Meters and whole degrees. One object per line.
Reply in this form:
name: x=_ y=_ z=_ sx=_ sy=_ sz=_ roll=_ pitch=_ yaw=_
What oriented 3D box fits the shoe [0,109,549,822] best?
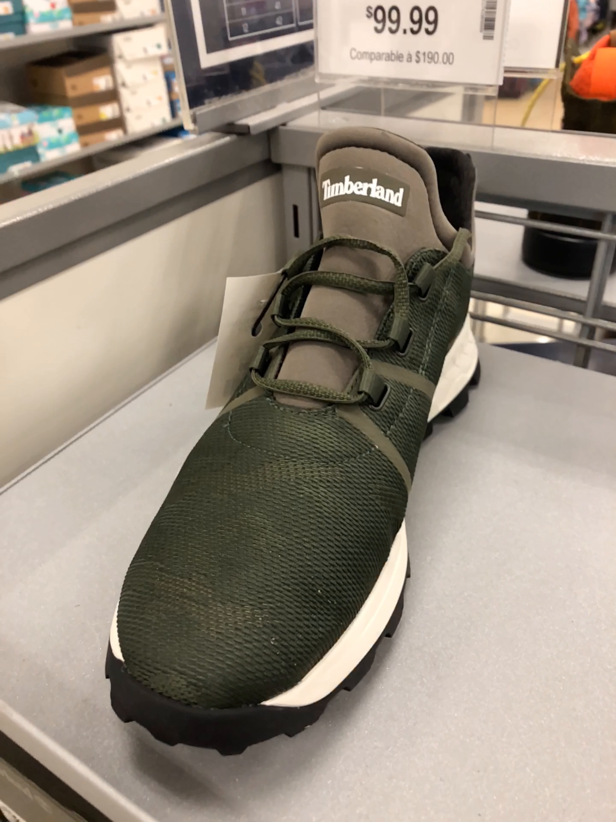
shoe: x=0.005 y=-0.021 z=0.308 sx=0.130 sy=0.149 sz=0.312 roll=13 pitch=37 yaw=21
